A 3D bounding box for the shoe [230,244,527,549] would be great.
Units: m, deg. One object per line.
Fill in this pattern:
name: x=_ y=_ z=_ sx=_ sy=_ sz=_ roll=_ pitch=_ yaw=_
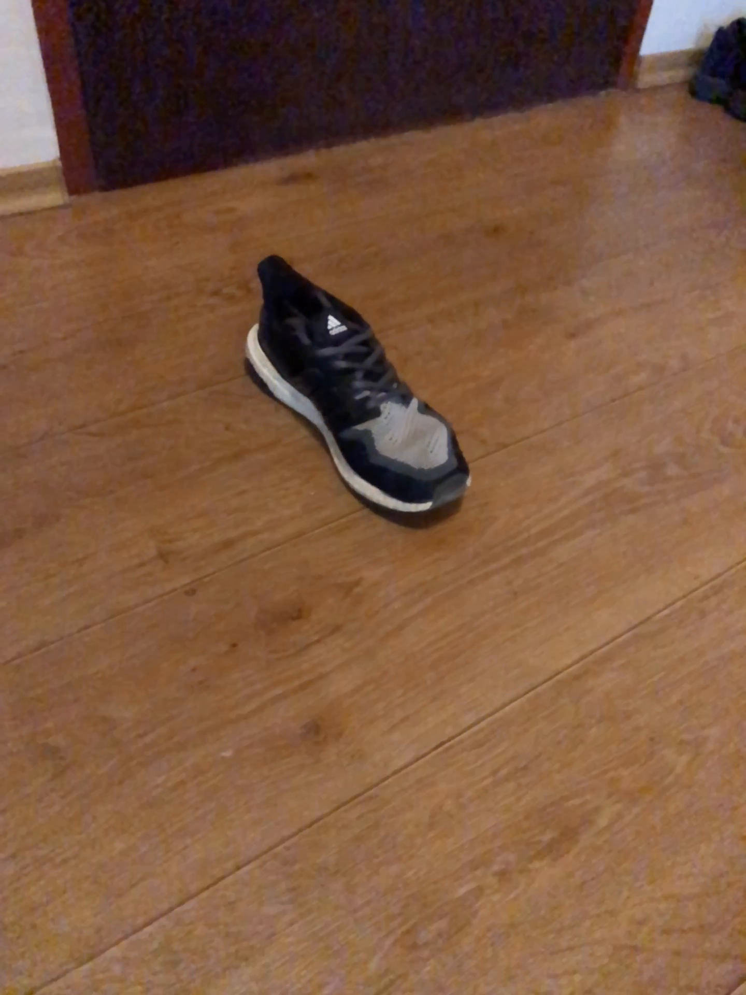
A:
shoe: x=-0.008 y=-0.099 z=0.709 sx=0.113 sy=0.099 sz=0.271 roll=-23 pitch=53 yaw=-26
